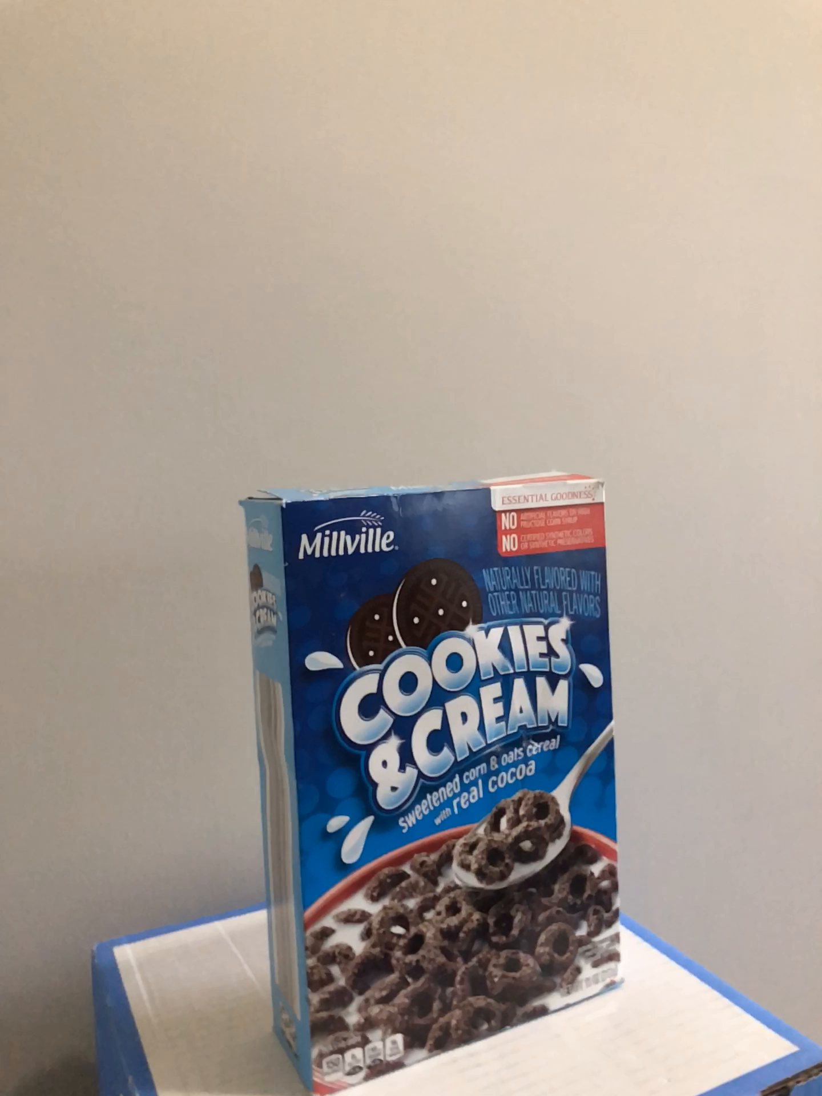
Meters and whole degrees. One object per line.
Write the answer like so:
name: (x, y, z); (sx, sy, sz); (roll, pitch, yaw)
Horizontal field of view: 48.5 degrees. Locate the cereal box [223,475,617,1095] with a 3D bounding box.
cereal box: (0.011, 0.119, 0.519); (0.200, 0.310, 0.070); (-5, 5, -27)
